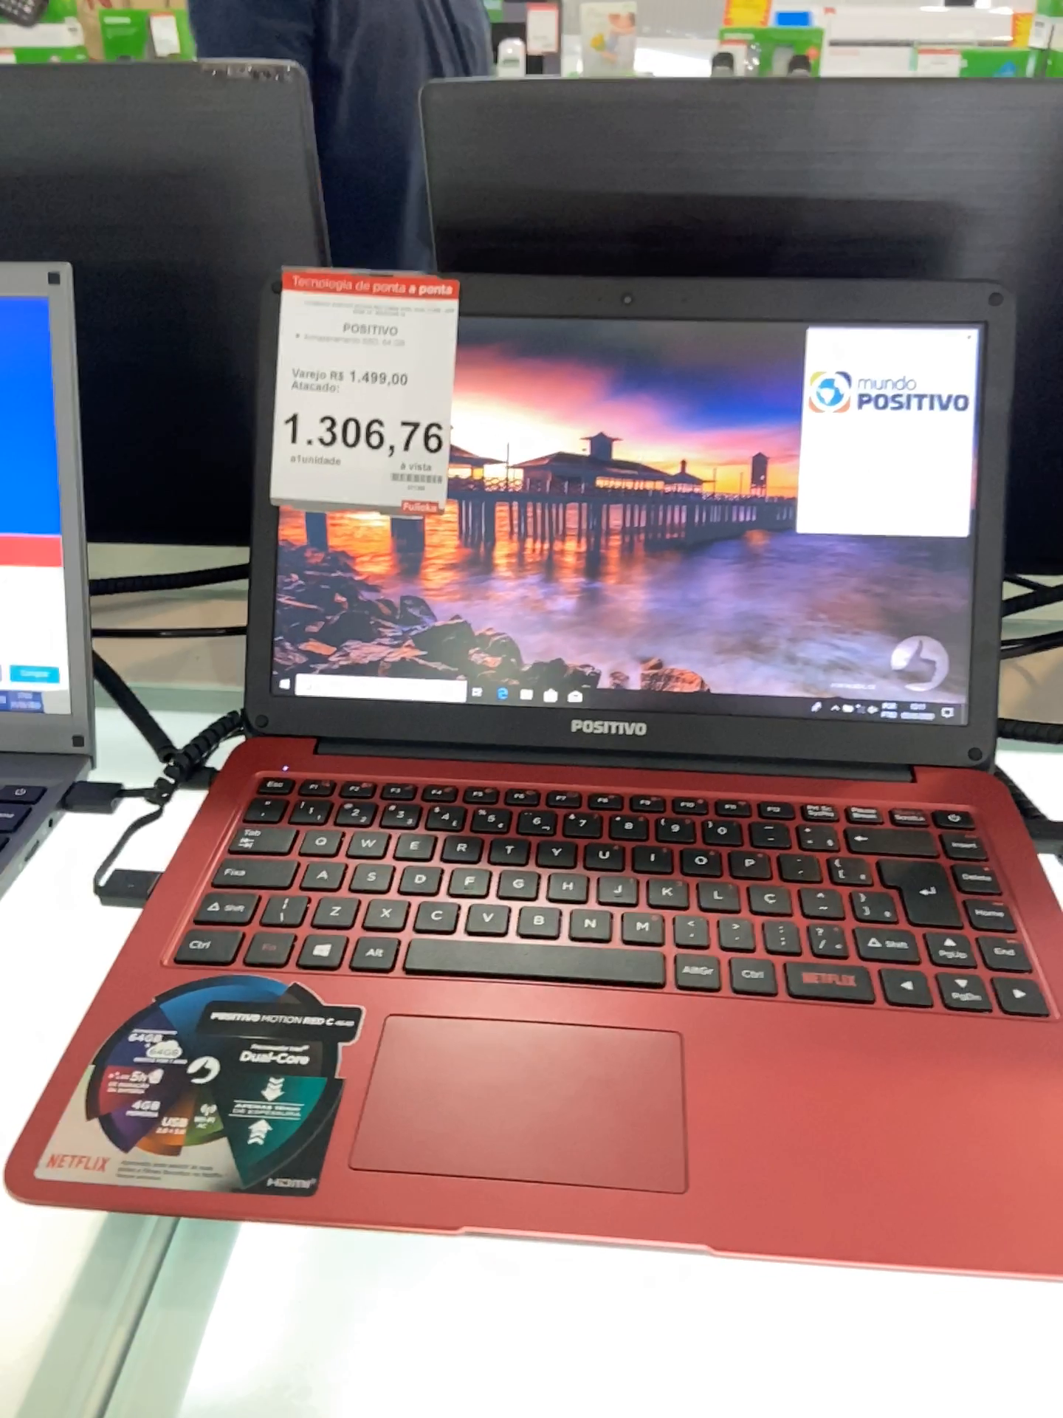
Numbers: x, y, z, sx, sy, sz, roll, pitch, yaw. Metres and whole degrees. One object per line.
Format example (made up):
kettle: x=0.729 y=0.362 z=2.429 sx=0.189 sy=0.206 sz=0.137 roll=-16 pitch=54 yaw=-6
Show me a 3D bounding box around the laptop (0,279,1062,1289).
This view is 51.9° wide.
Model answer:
laptop: x=0.028 y=-0.024 z=0.380 sx=0.320 sy=0.167 sz=0.335 roll=2 pitch=33 yaw=5
